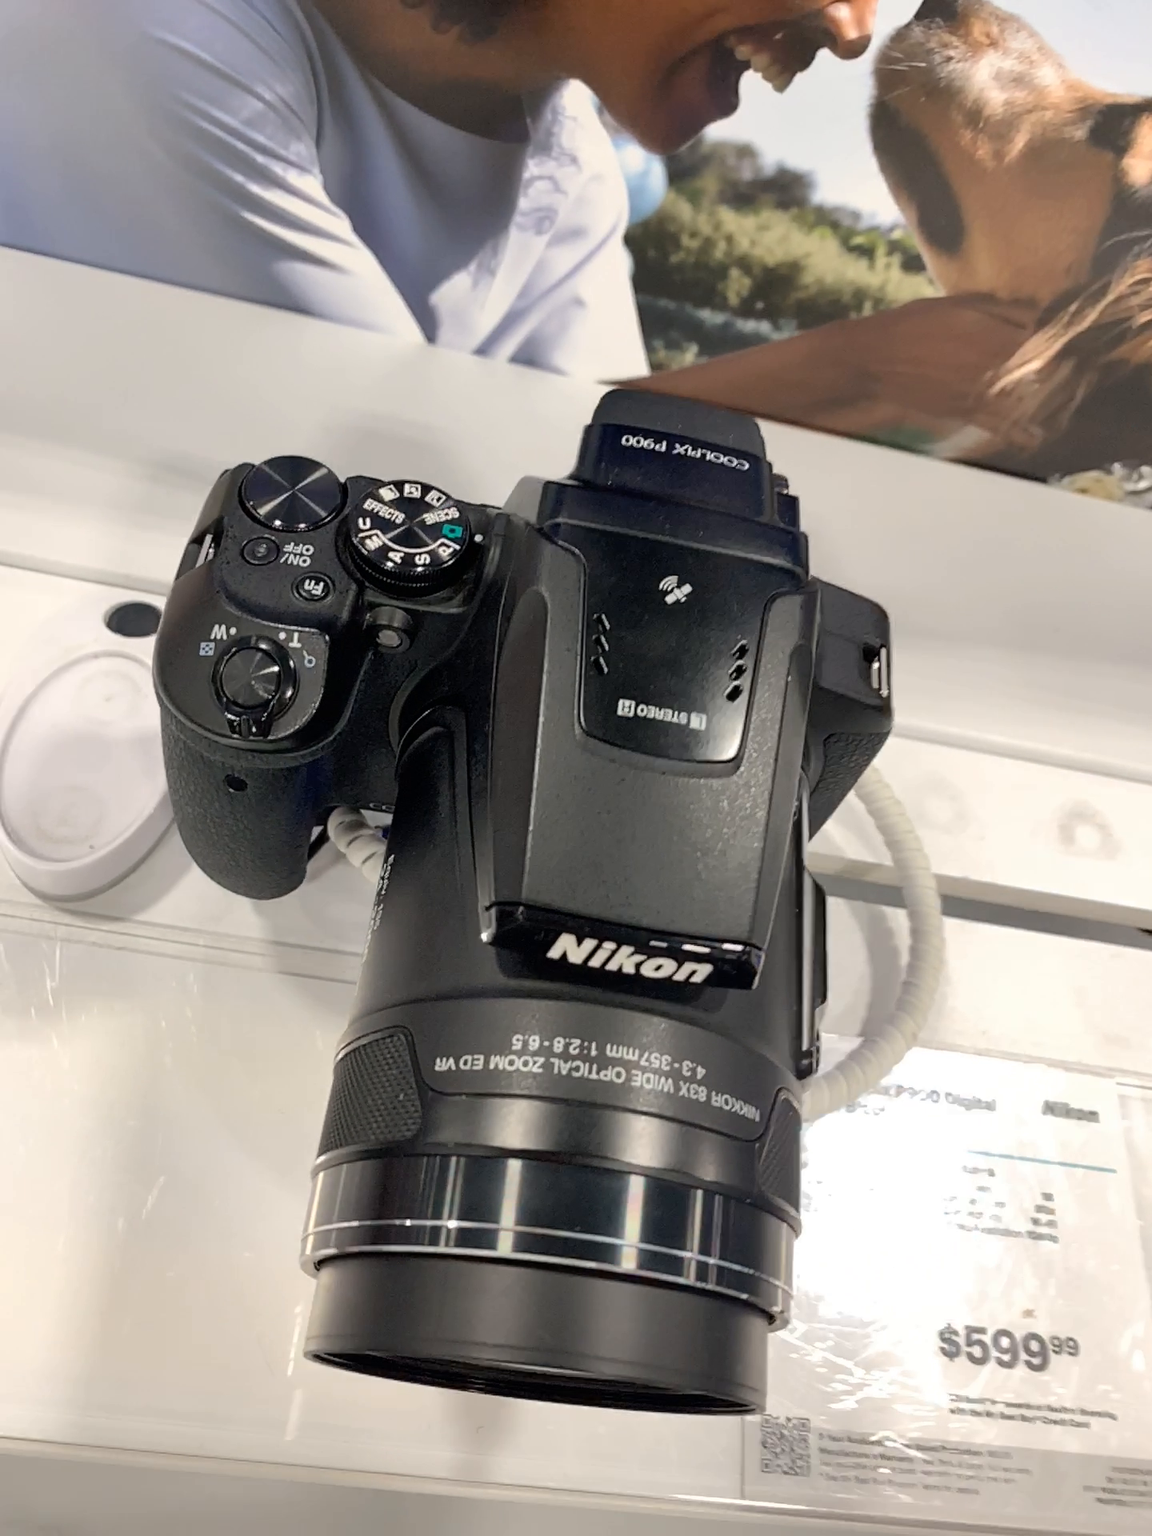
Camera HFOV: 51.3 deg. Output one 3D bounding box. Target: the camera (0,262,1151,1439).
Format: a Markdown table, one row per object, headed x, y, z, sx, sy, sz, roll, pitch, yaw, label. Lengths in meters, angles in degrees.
| x | y | z | sx | sy | sz | roll | pitch | yaw | label |
| --- | --- | --- | --- | --- | --- | --- | --- | --- | --- |
| -0.003 | 0.019 | 0.208 | 0.140 | 0.100 | 0.153 | 11 | 56 | -9 | camera |
